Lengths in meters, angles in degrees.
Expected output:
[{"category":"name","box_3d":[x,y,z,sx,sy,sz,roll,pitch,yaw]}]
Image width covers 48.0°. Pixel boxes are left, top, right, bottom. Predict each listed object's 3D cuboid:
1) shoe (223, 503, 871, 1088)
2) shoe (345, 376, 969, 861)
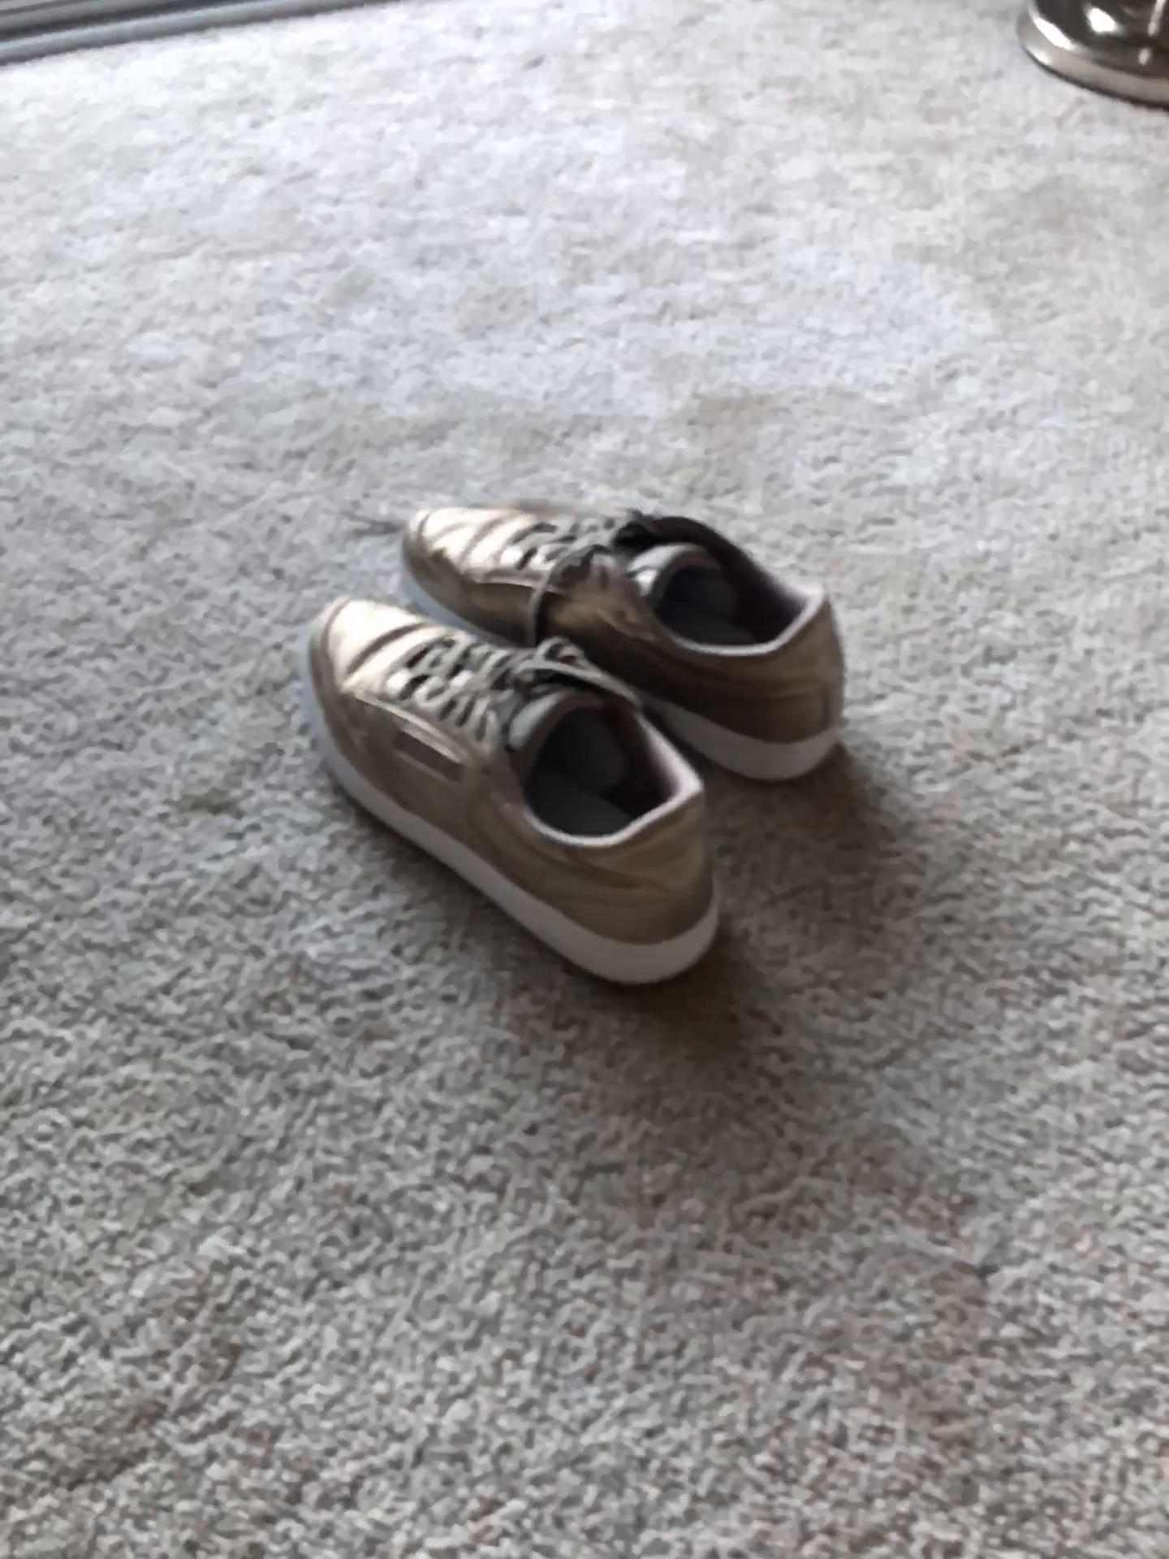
[{"category":"shoe","box_3d":[-0.026,-0.007,0.581,0.280,0.070,0.110,38,58,26]},{"category":"shoe","box_3d":[0.026,-0.088,0.634,0.280,0.070,0.110,33,56,23]}]
